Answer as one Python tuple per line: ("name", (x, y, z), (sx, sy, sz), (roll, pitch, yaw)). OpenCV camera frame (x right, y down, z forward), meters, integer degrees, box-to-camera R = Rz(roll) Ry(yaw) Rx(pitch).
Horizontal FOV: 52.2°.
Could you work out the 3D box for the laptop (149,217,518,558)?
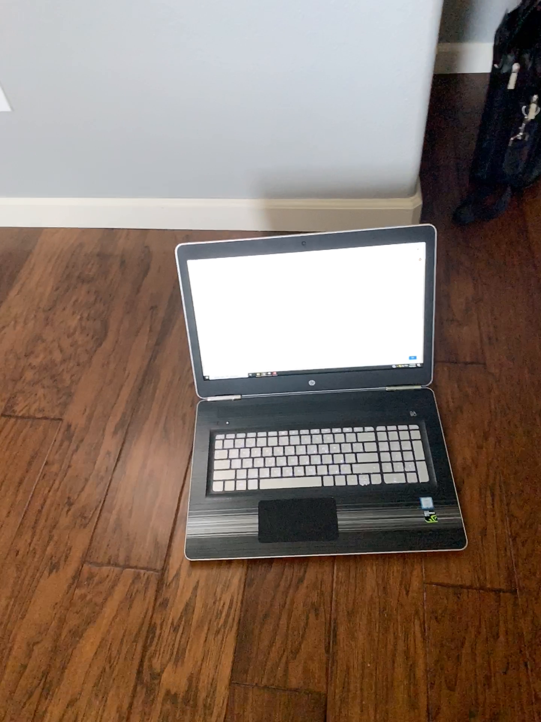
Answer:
("laptop", (0.069, 0.033, 0.831), (0.410, 0.233, 0.424), (-4, 53, 3))
